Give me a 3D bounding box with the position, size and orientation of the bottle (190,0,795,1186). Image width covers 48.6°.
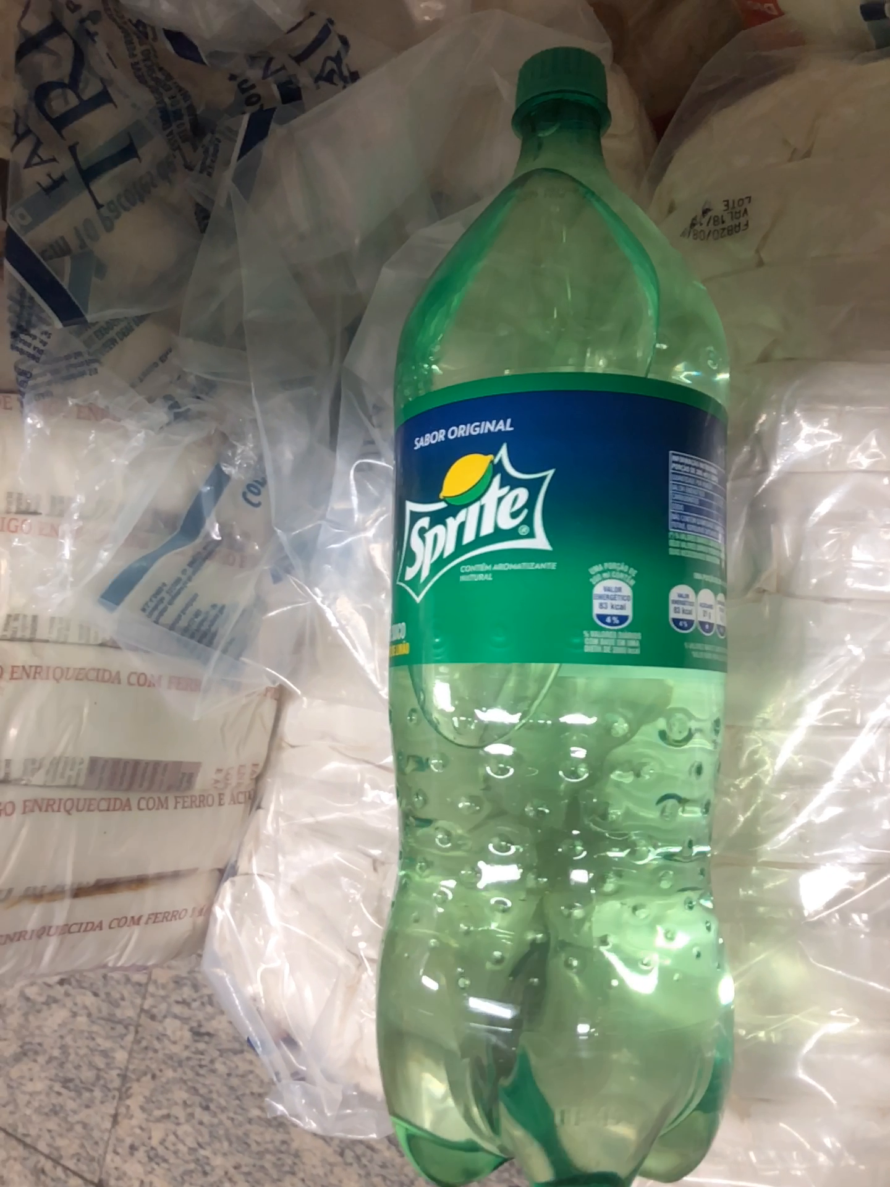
[{"bbox_3d":[0.034,-0.032,0.296,0.110,0.110,0.380,-4,73,32],"label":"bottle"}]
